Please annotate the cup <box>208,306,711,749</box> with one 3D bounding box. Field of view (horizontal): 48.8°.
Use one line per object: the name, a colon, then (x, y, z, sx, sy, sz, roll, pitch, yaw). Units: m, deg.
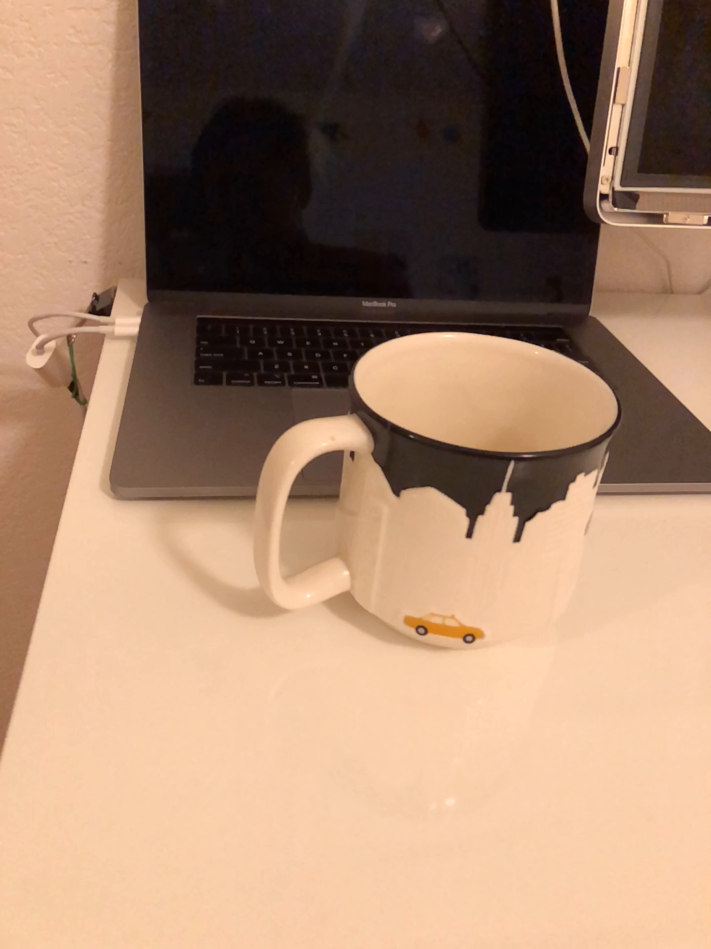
cup: (0.033, 0.008, 0.315, 0.150, 0.099, 0.110, -14, 37, -27)
